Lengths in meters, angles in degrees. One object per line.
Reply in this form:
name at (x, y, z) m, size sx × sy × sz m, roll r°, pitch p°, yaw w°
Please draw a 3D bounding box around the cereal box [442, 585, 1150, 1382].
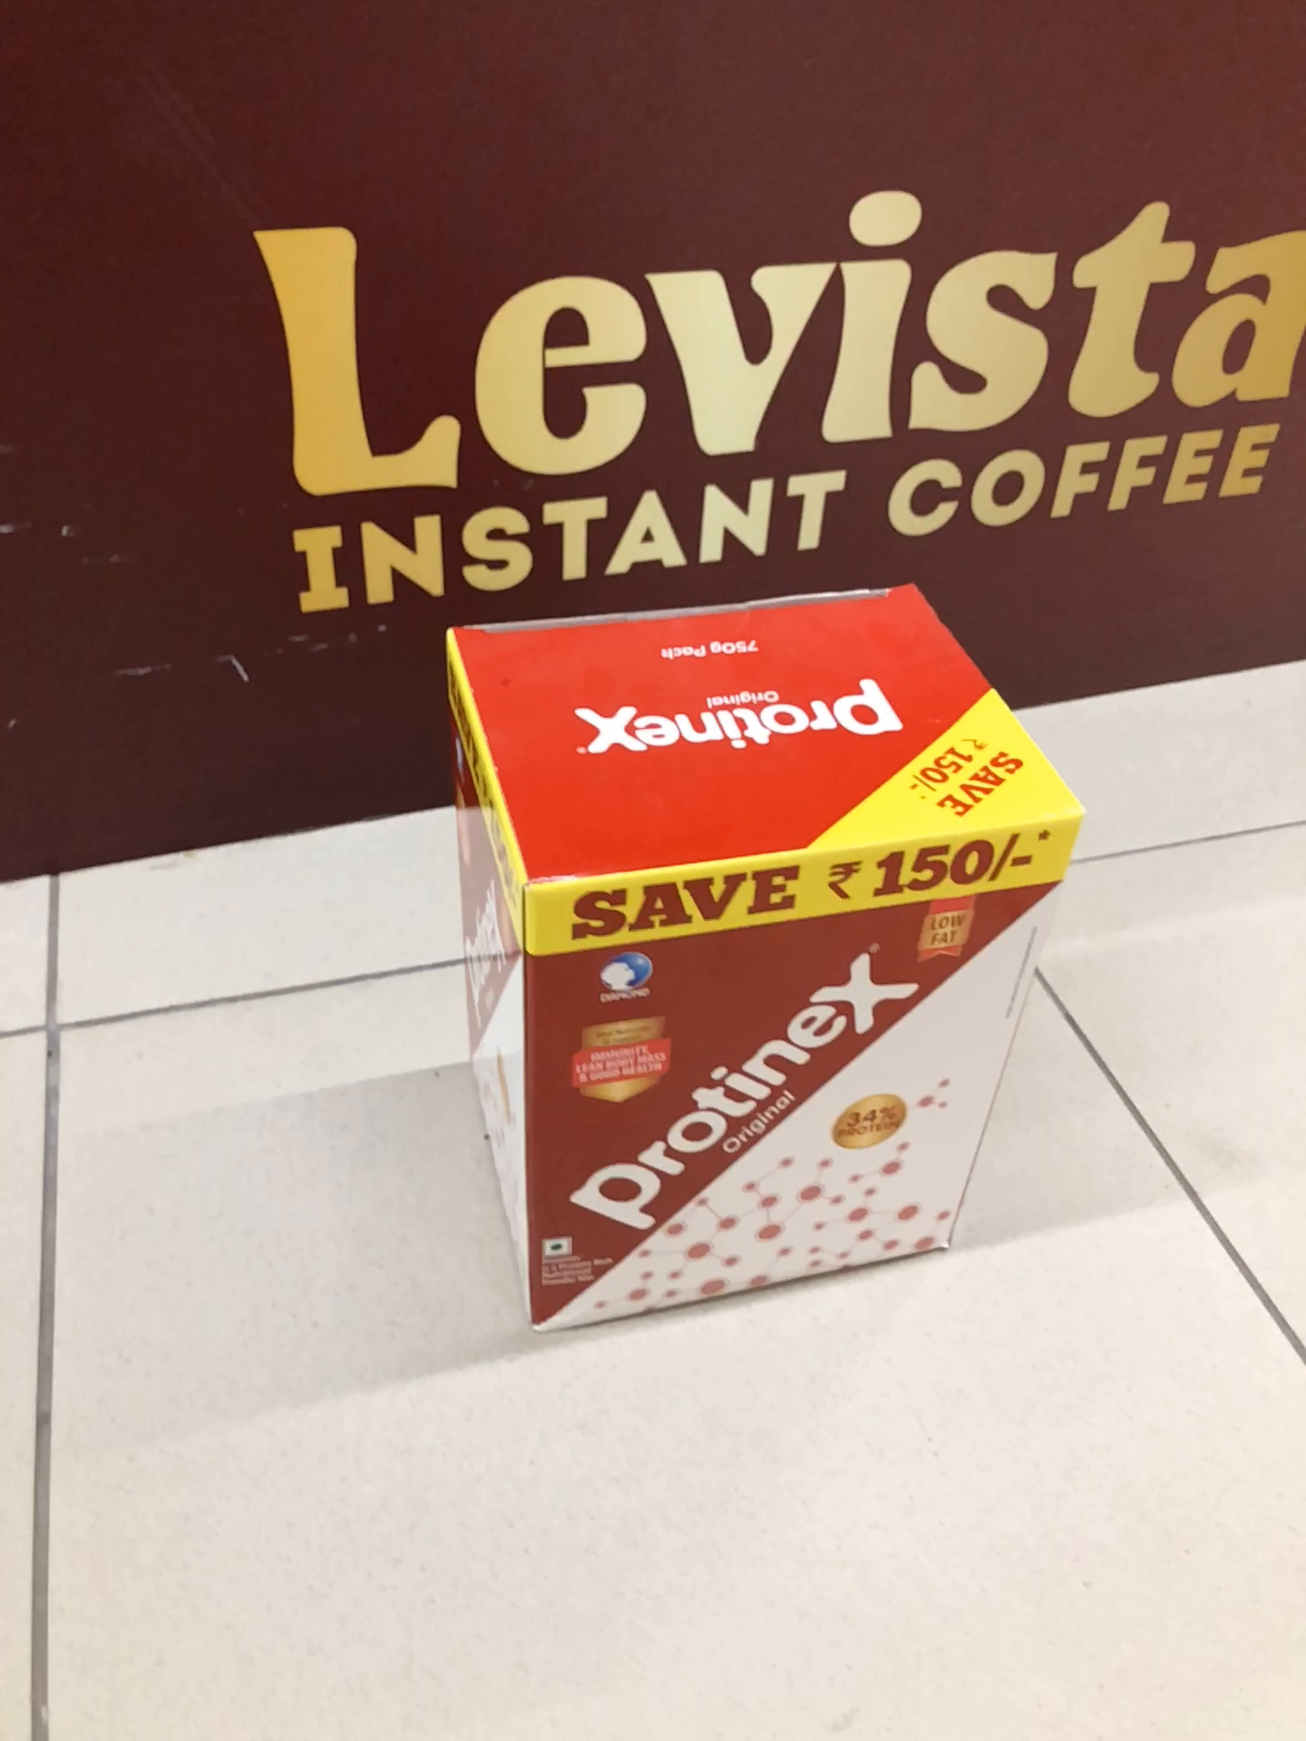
cereal box at (0.028, 0.036, 0.452) m, size 0.160 × 0.199 × 0.121 m, roll -8°, pitch 41°, yaw -13°
